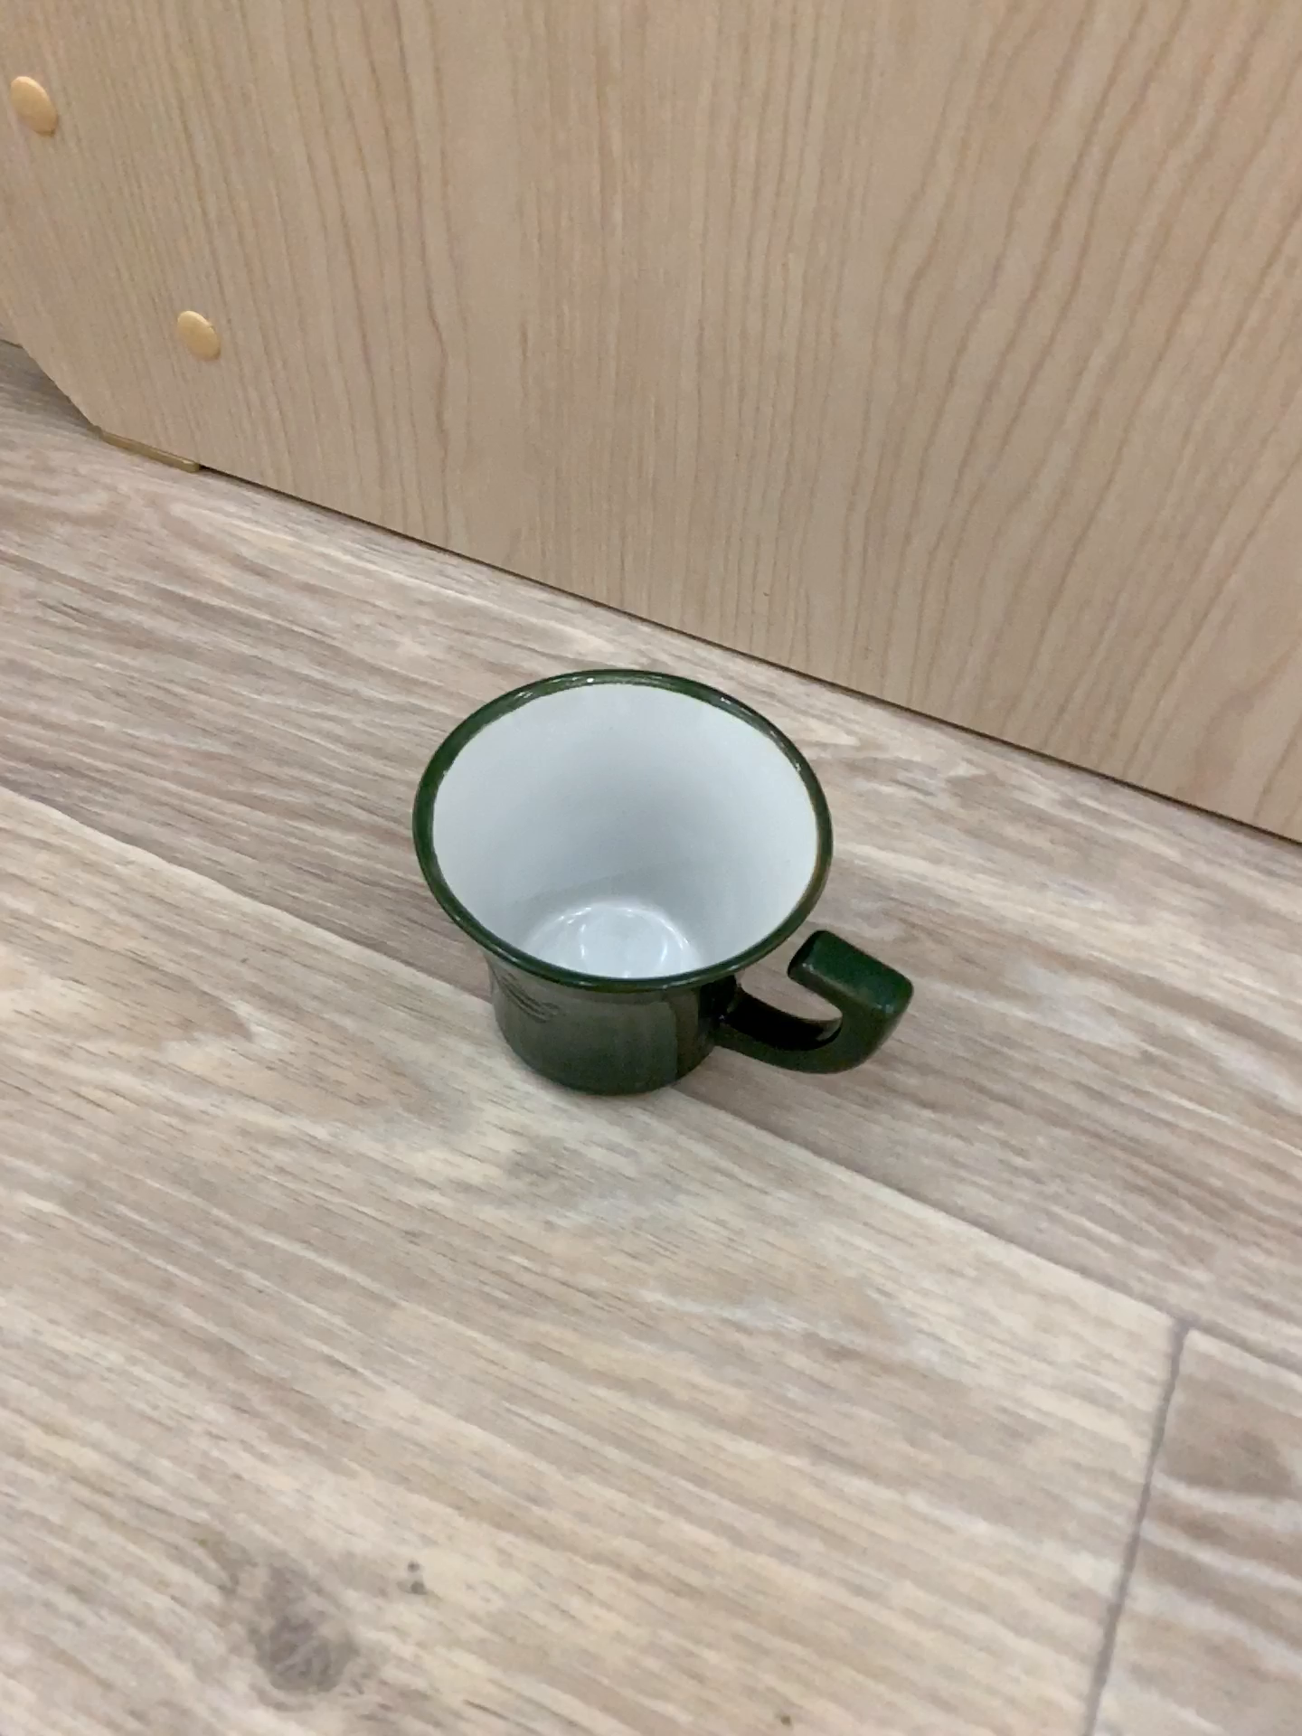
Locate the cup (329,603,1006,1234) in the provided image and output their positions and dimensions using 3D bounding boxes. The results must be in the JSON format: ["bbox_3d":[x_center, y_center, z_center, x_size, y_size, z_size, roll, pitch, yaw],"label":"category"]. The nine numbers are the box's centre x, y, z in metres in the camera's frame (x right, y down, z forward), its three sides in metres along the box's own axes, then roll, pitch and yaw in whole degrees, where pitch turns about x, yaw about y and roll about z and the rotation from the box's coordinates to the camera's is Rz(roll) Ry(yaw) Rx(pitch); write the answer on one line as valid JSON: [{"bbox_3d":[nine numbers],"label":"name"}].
[{"bbox_3d":[0.004,0.008,0.278,0.106,0.061,0.074,24,54,15],"label":"cup"}]
